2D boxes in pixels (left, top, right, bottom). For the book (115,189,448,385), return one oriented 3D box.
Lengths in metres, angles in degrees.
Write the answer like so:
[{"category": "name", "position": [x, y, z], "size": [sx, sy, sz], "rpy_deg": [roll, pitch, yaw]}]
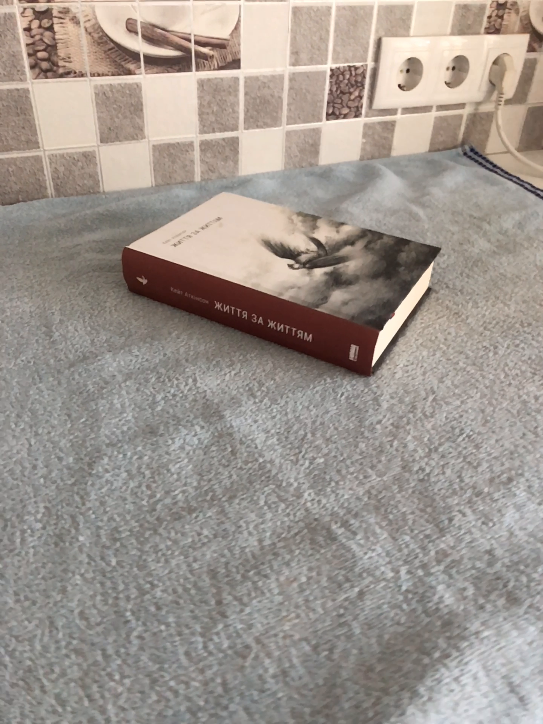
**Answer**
[{"category": "book", "position": [0.011, -0.075, 0.490], "size": [0.220, 0.040, 0.156], "rpy_deg": [21, 40, 21]}]
